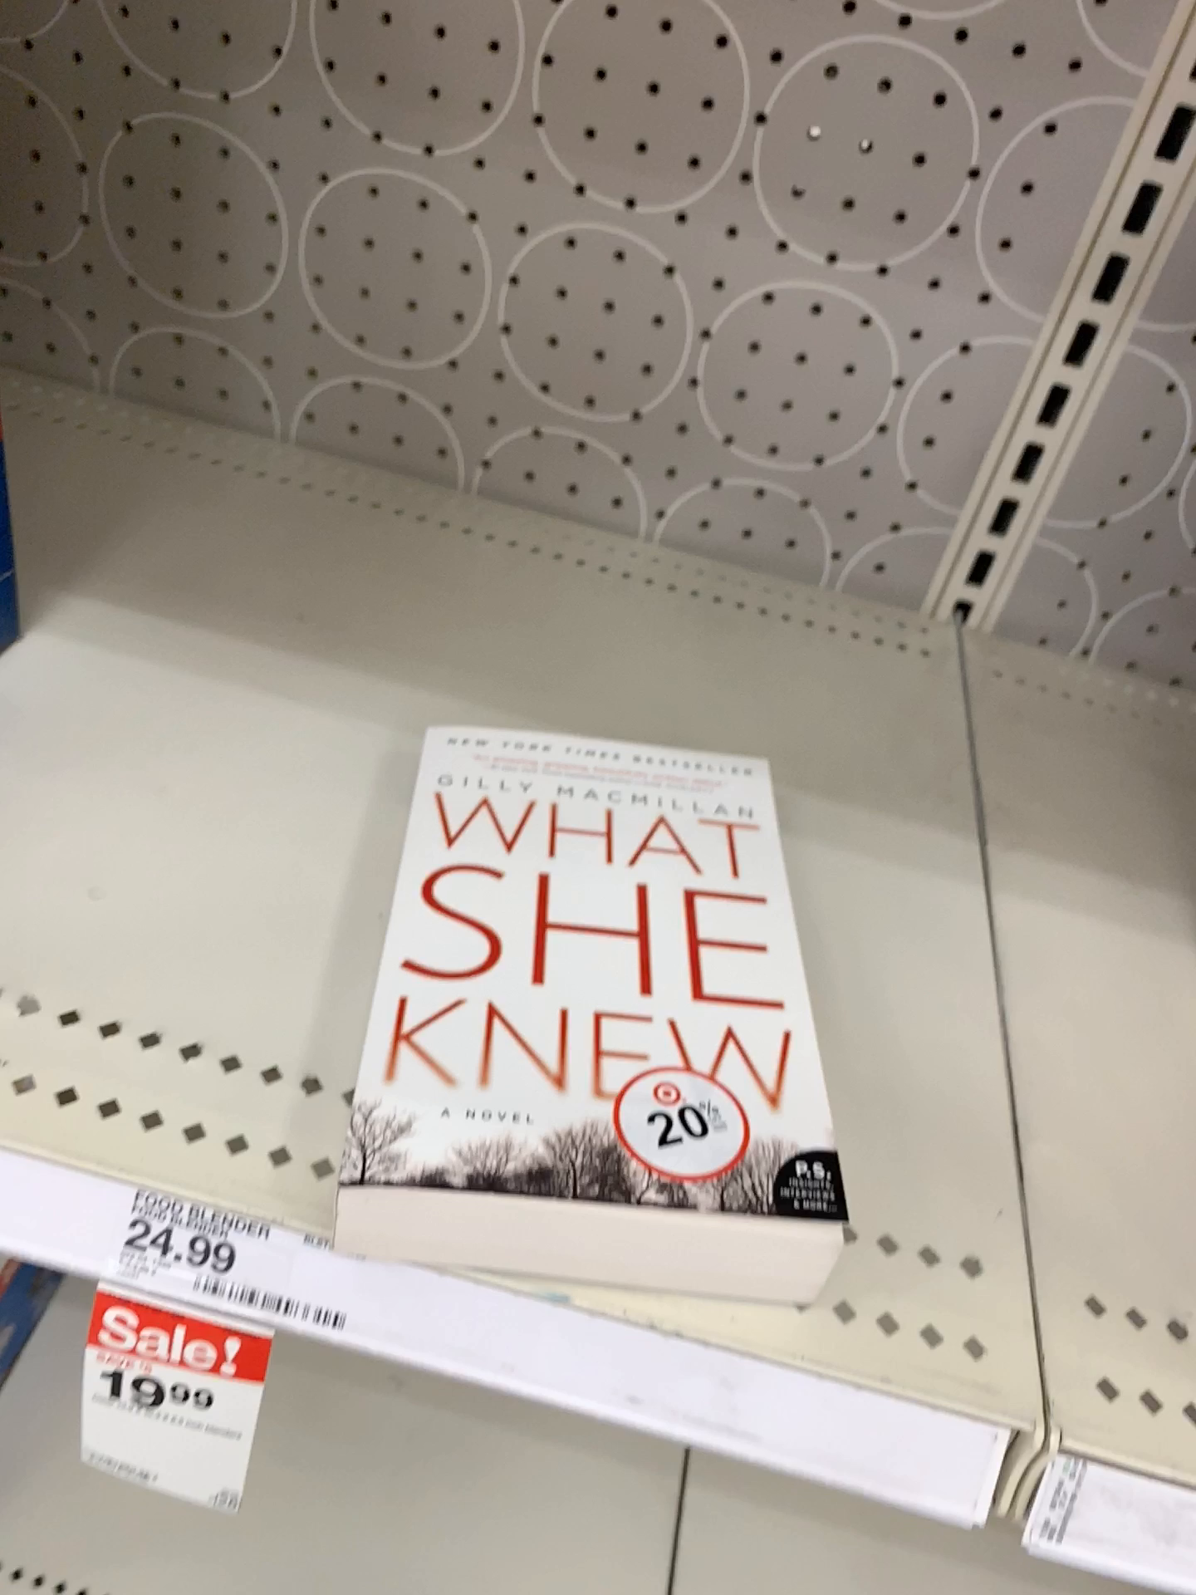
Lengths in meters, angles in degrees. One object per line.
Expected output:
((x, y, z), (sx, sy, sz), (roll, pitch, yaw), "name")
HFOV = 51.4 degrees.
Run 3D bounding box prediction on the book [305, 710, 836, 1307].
((-0.008, 0.052, 0.393), (0.130, 0.041, 0.198), (7, 37, -5), "book")
